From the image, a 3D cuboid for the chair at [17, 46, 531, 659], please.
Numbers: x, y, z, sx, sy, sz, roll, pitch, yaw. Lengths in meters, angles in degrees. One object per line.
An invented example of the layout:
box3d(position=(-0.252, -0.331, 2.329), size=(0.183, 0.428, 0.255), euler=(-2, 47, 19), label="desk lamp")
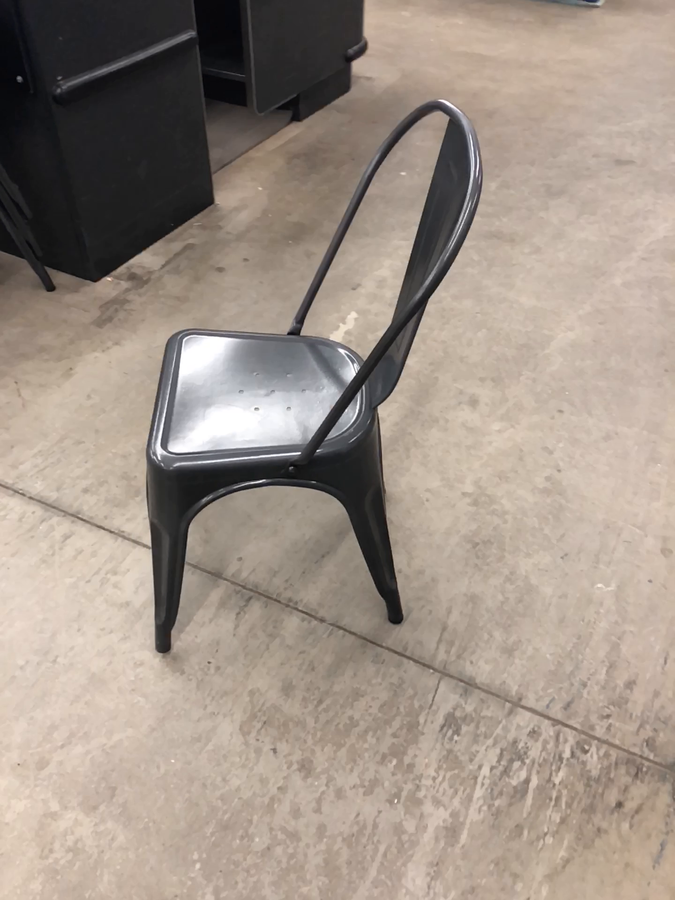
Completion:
box3d(position=(-0.074, -0.114, 1.179), size=(0.500, 0.817, 0.482), euler=(-3, 44, -3), label="chair")
